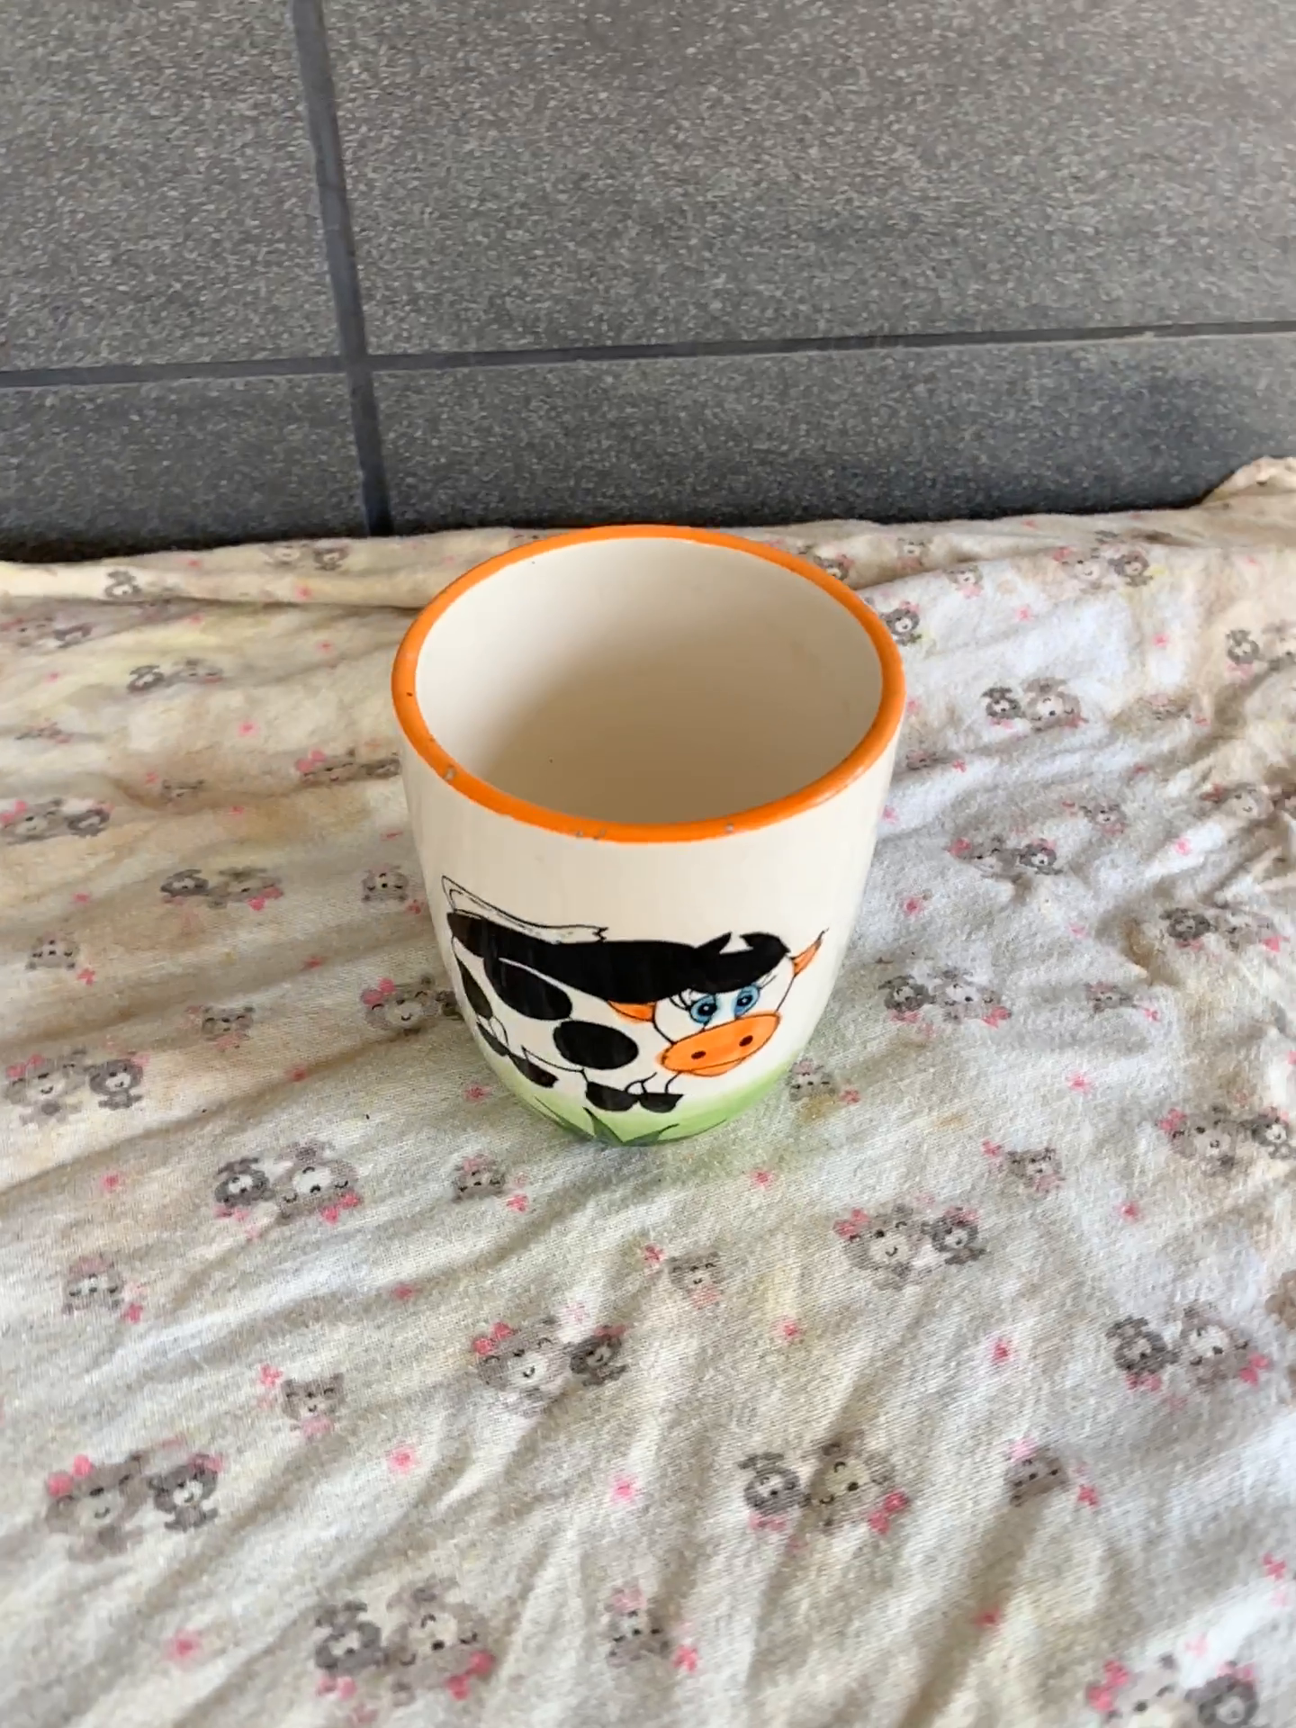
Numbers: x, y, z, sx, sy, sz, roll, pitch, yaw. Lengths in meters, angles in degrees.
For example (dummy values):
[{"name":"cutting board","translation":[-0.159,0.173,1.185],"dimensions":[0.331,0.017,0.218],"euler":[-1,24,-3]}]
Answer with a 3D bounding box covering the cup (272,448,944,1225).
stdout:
[{"name":"cup","translation":[-0.002,-0.005,0.231],"dimensions":[0.080,0.090,0.080],"euler":[1,45,-1]}]
